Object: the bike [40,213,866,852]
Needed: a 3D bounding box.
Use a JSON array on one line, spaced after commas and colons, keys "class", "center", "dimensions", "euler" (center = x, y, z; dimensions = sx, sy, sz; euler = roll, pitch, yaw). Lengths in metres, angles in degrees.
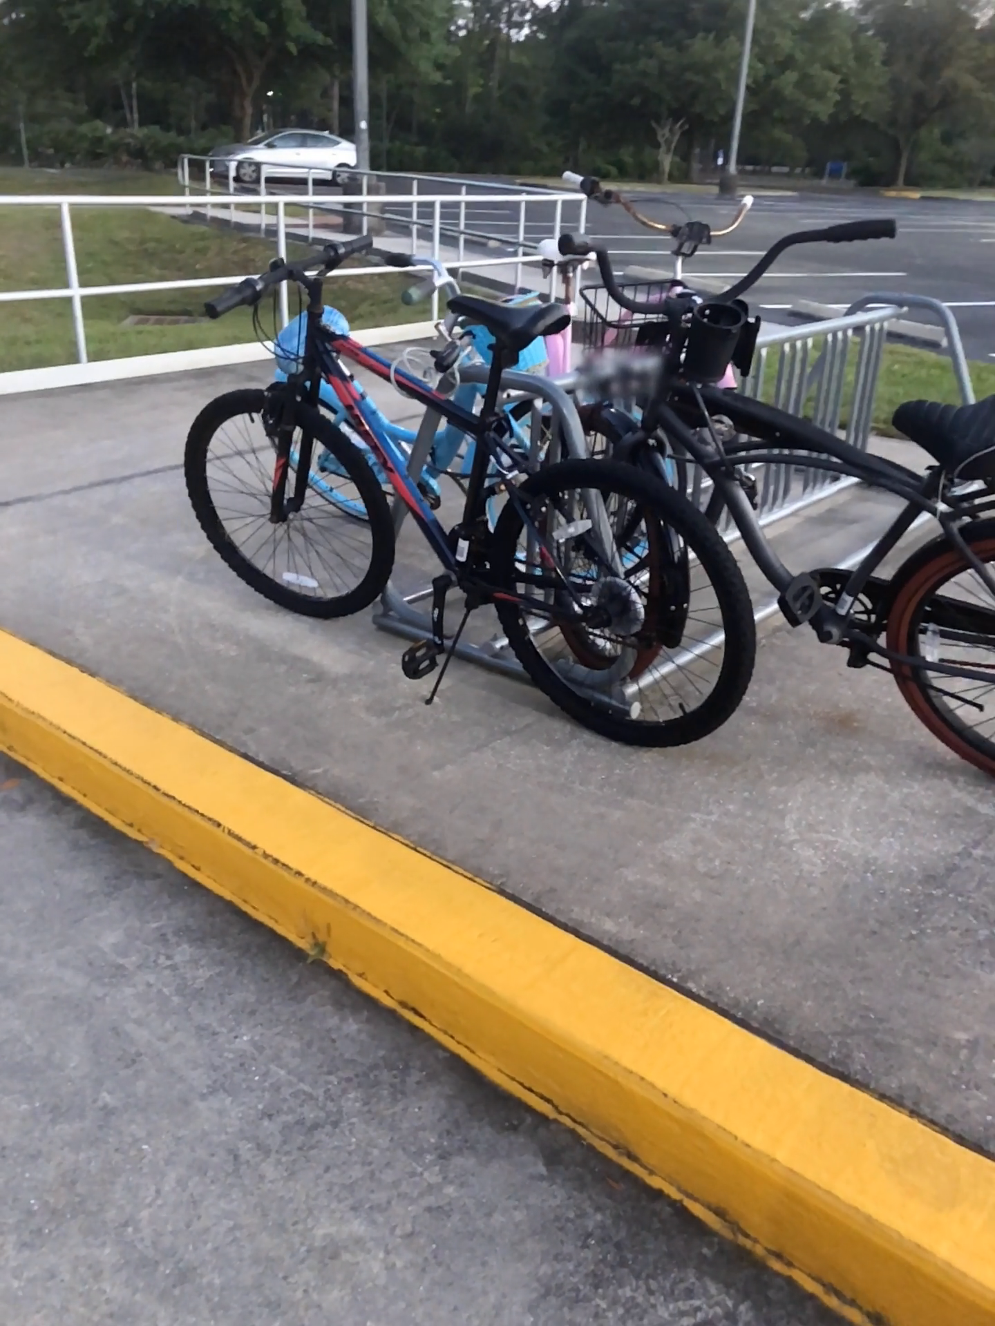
[{"class": "bike", "center": [-0.178, -0.422, 2.410], "dimensions": [1.633, 0.932, 0.626], "euler": [20, 30, 31]}]
